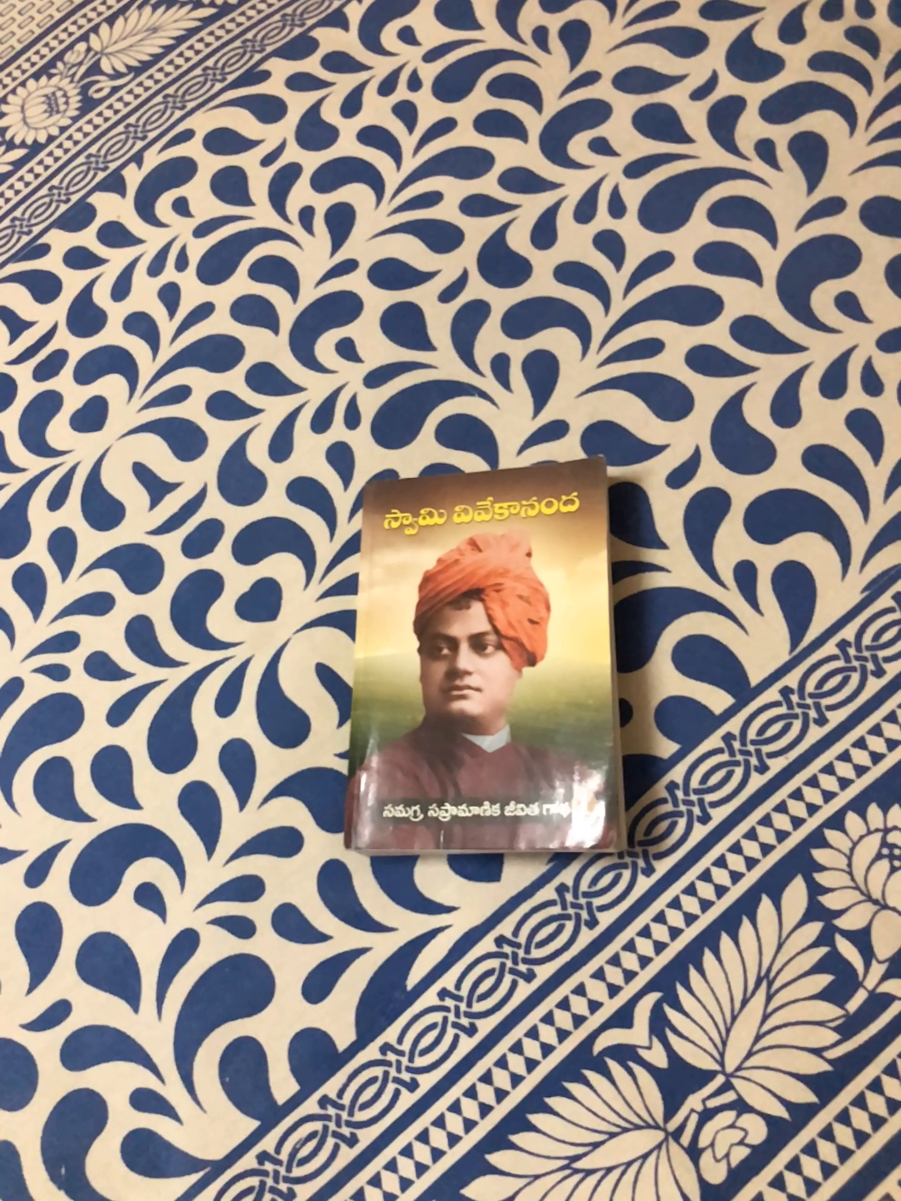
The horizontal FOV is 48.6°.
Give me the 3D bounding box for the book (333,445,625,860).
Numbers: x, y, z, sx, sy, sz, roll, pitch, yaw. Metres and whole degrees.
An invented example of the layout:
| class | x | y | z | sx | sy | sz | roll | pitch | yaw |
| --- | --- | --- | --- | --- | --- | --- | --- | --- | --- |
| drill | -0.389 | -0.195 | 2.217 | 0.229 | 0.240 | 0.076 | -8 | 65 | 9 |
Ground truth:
| class | x | y | z | sx | sy | sz | roll | pitch | yaw |
| --- | --- | --- | --- | --- | --- | --- | --- | --- | --- |
| book | 0.015 | 0.026 | 0.523 | 0.140 | 0.030 | 0.210 | -4 | 71 | 13 |
